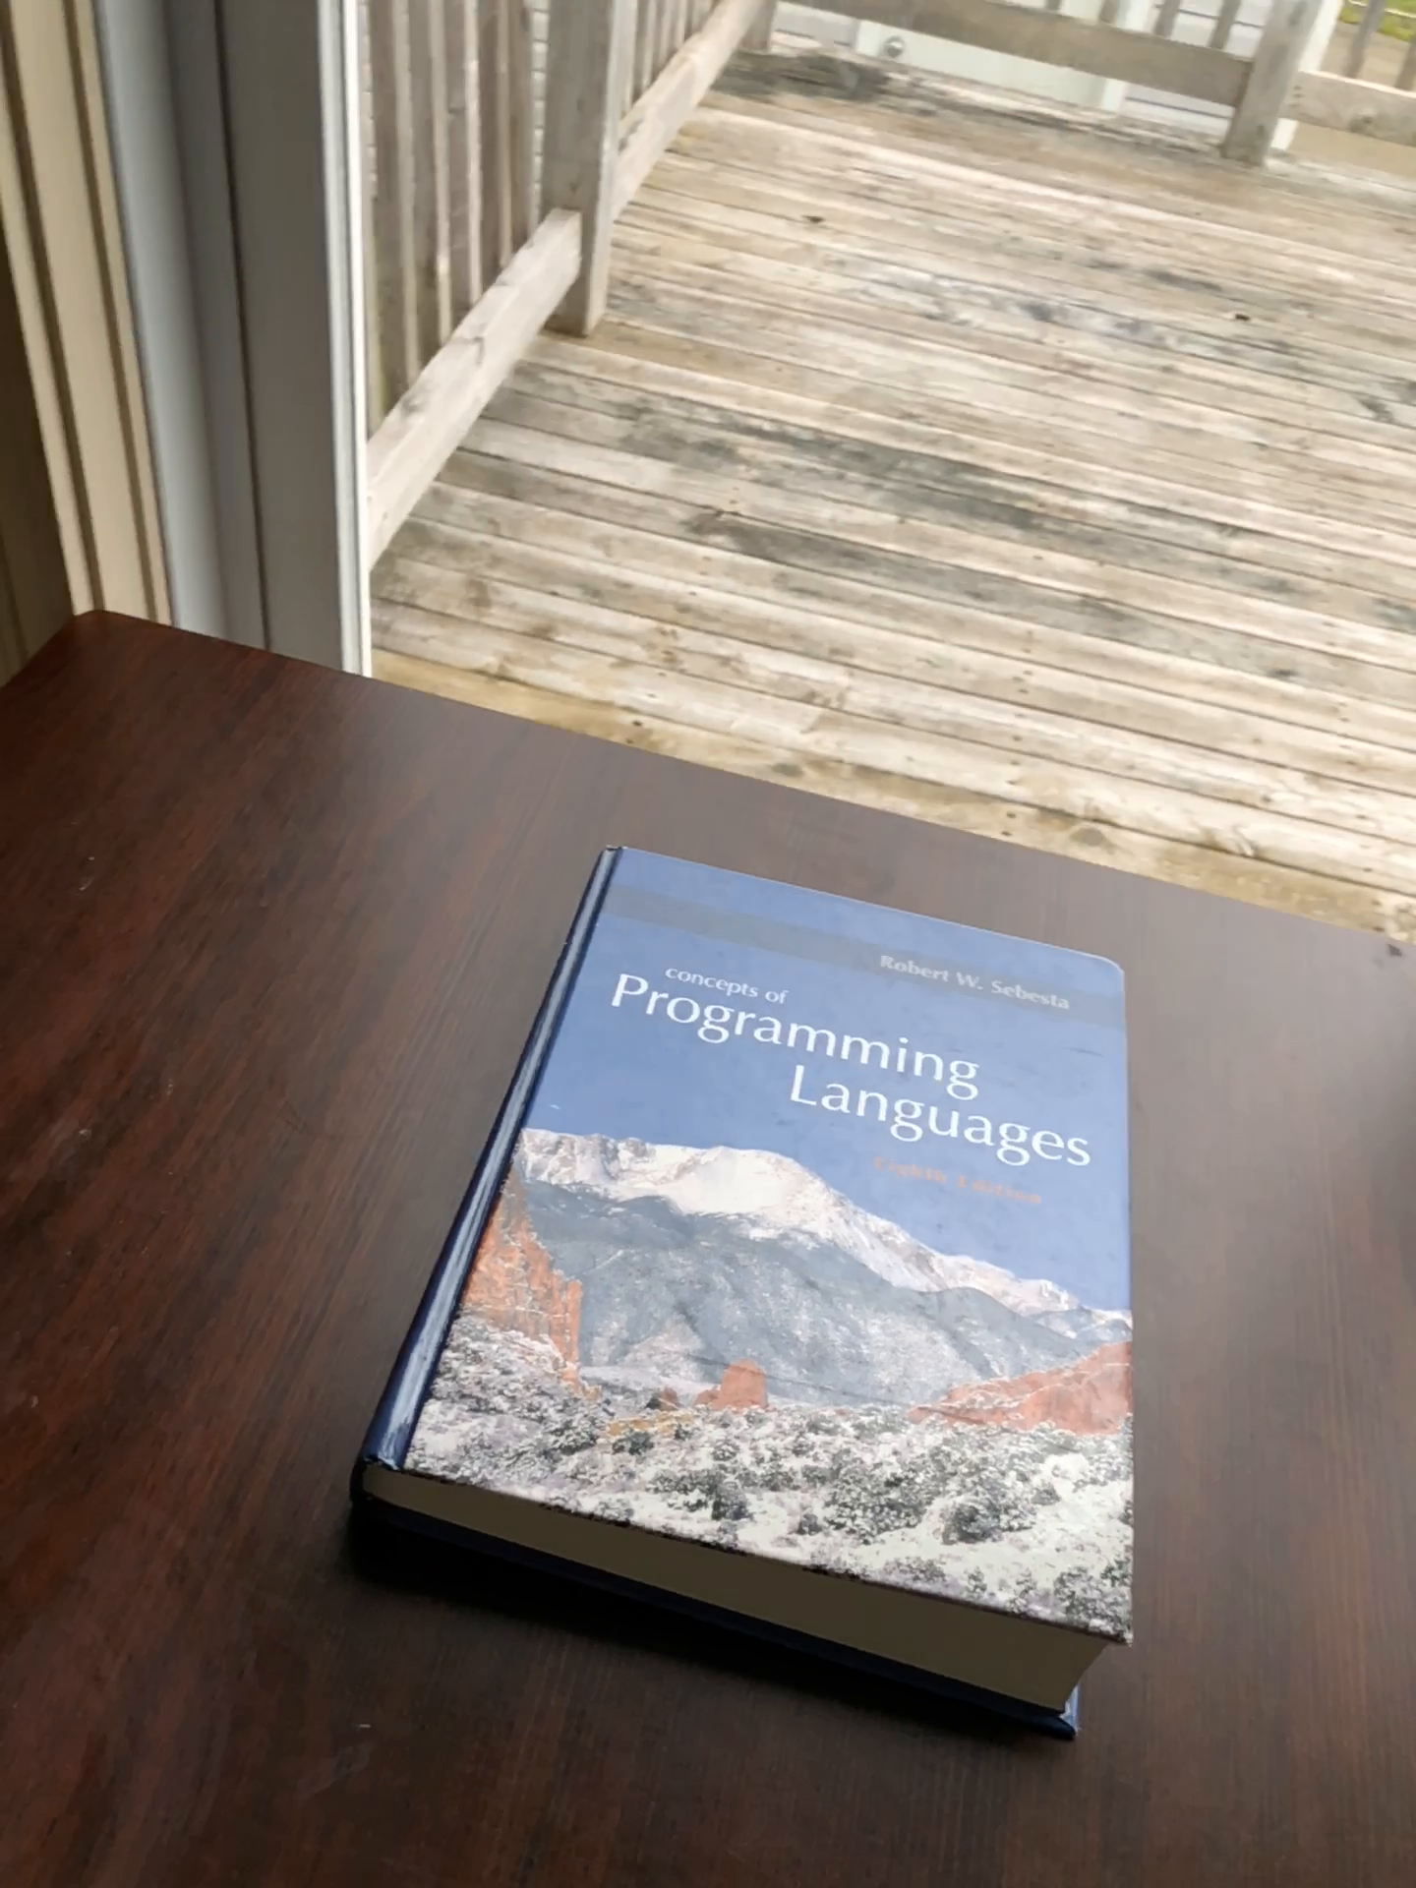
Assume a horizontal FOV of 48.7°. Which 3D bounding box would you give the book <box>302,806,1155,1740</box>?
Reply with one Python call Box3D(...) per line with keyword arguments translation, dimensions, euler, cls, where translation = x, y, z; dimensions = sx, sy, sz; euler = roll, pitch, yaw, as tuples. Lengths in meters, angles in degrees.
Box3D(translation=(0.023, 0.074, 0.458), dimensions=(0.195, 0.048, 0.237), euler=(15, 45, 4), cls="book")
